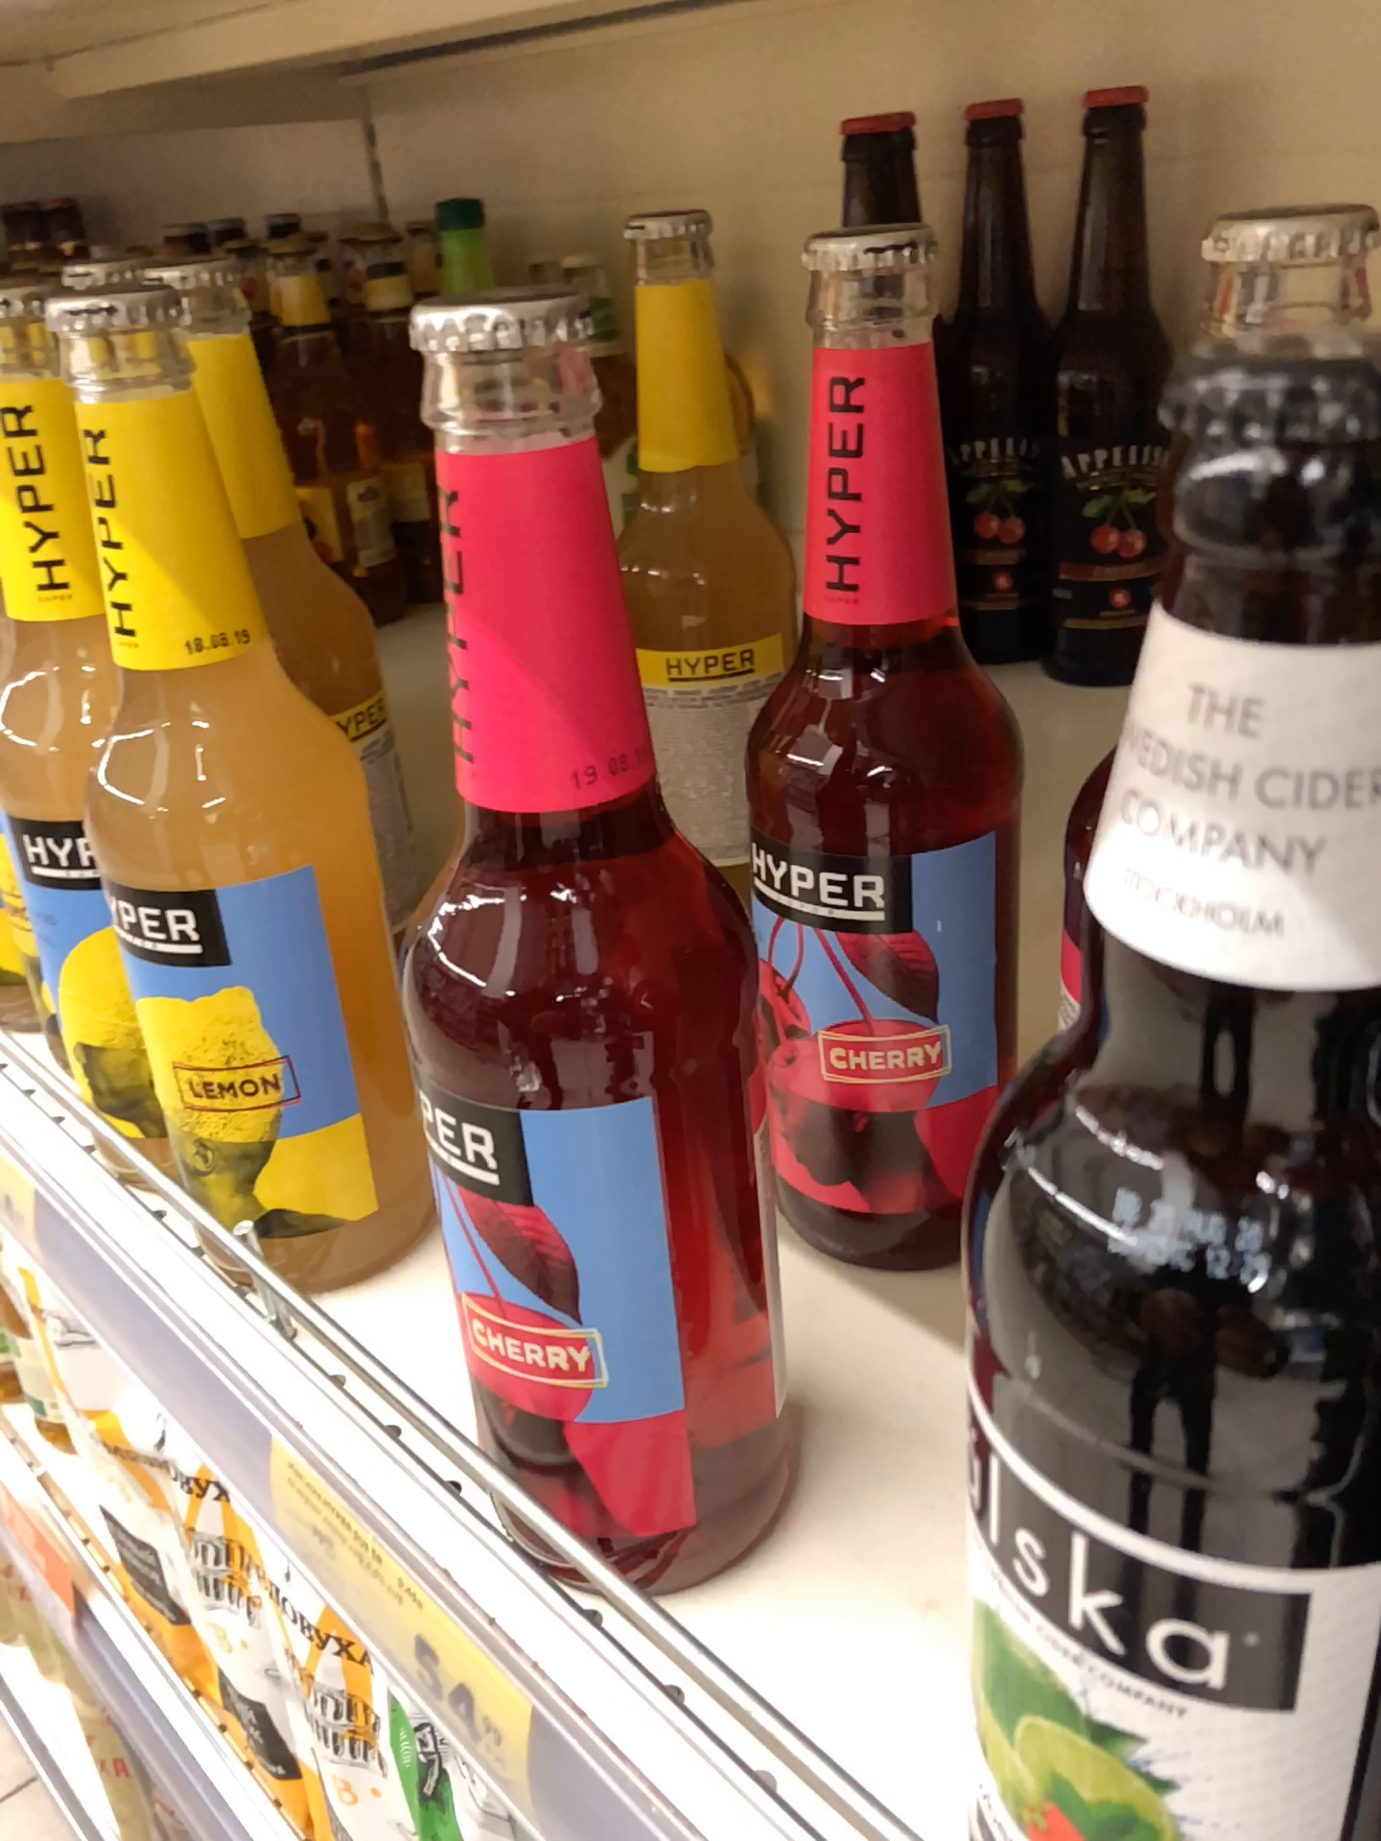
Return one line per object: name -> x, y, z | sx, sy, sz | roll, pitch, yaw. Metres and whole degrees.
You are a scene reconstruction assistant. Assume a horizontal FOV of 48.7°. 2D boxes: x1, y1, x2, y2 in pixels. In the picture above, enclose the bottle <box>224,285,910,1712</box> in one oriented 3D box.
bottle -> -0.015, 0.017, 0.283 | 0.070, 0.243, 0.080 | -19, 29, -26
